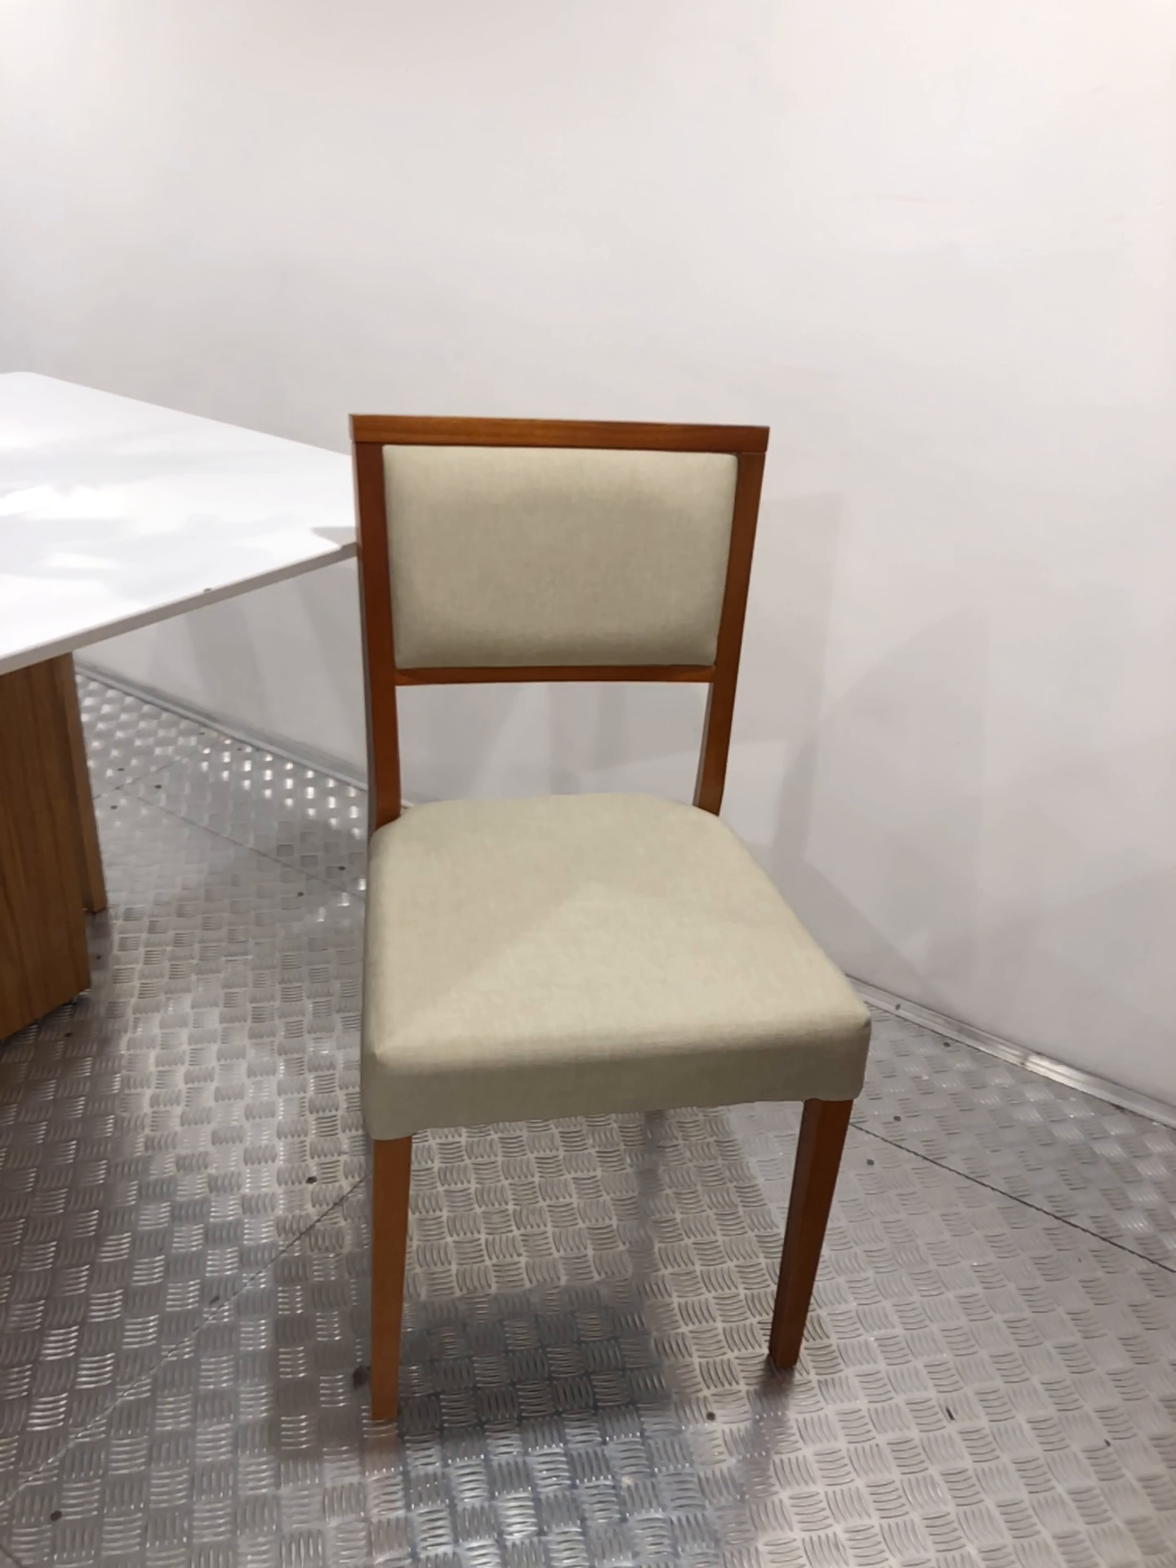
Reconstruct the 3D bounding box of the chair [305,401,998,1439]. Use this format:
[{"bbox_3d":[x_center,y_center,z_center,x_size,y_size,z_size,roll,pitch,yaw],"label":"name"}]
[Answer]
[{"bbox_3d":[-0.029,0.110,1.427,0.520,0.893,0.624,-2,28,-13],"label":"chair"}]
